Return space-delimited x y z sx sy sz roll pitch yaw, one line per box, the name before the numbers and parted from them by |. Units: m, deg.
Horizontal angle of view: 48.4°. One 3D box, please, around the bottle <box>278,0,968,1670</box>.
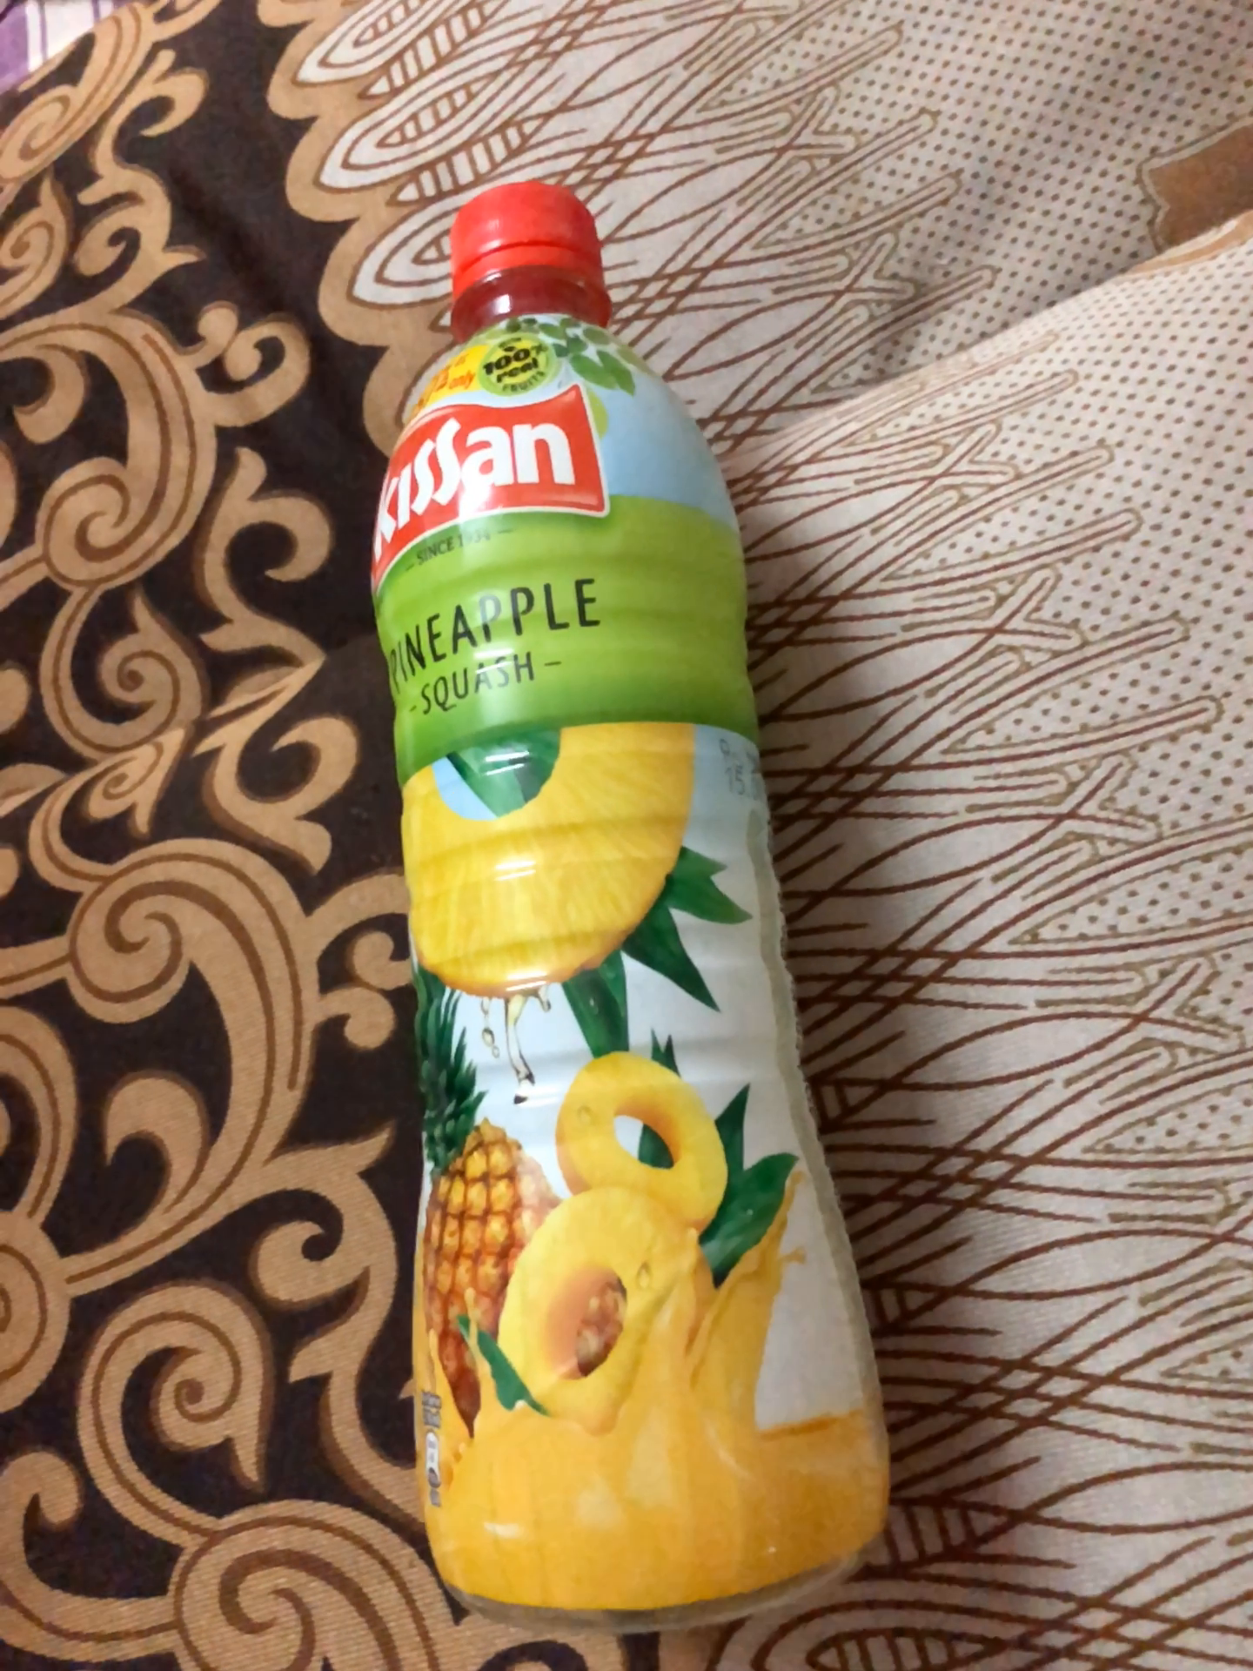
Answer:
bottle | -0.004 -0.007 0.228 0.070 0.060 0.240 -11 76 22
